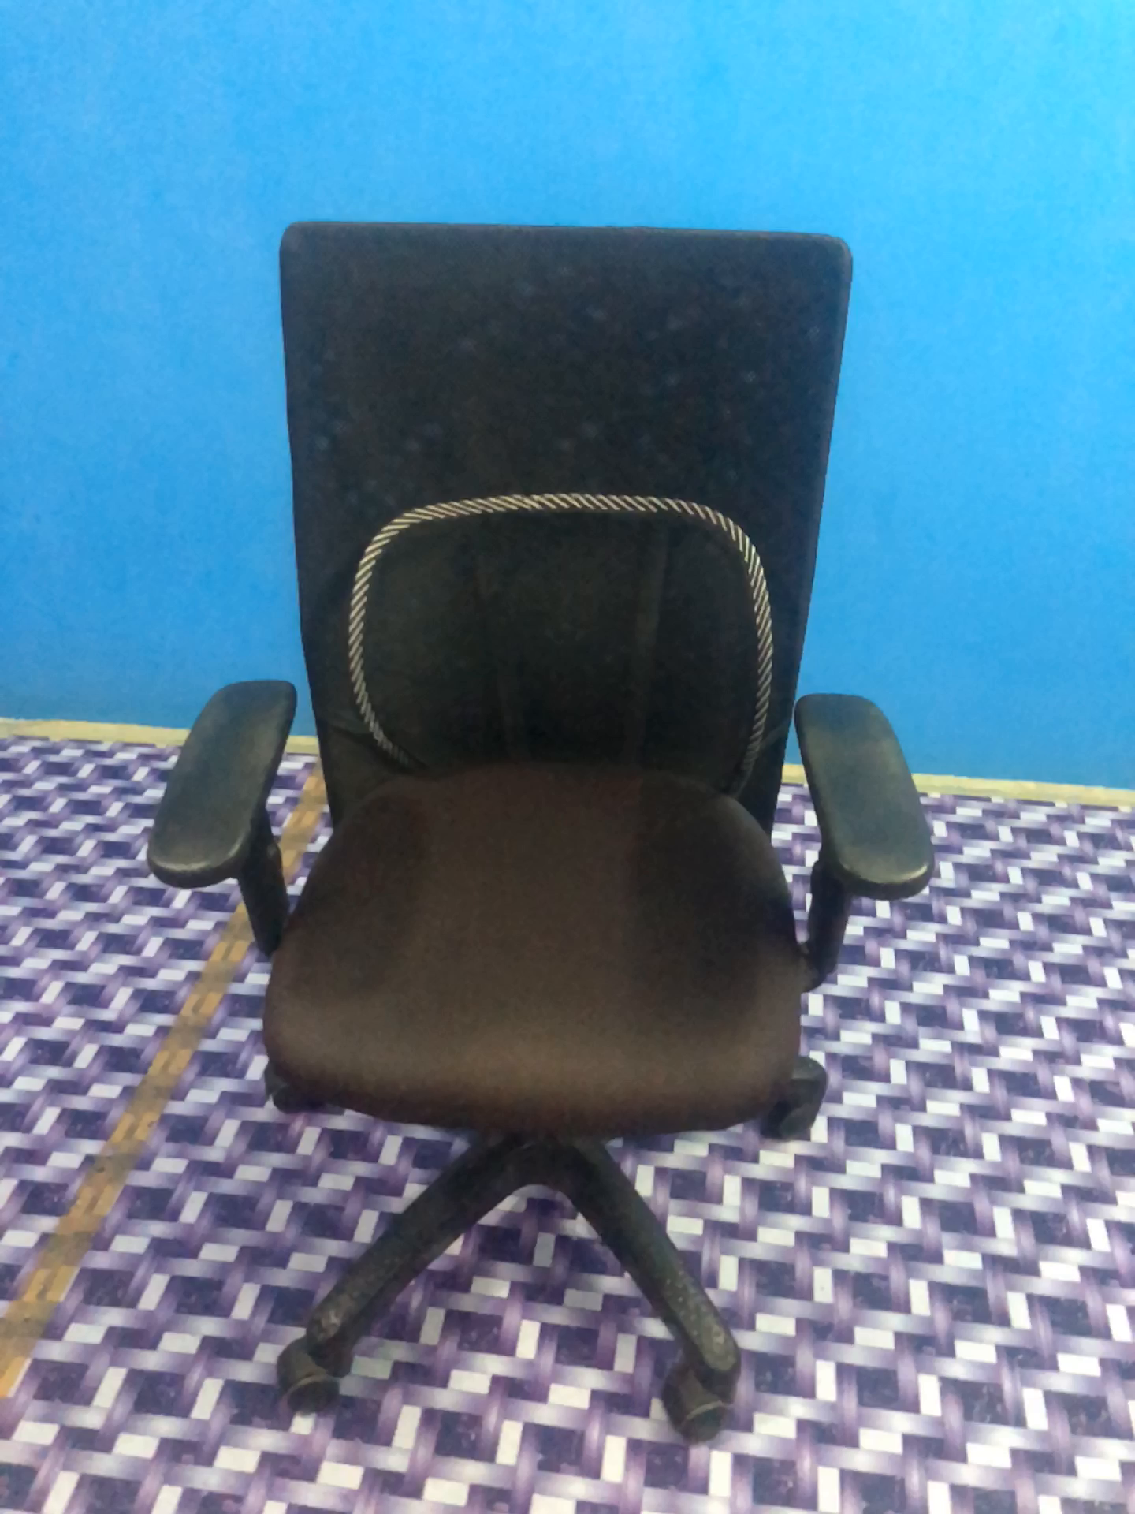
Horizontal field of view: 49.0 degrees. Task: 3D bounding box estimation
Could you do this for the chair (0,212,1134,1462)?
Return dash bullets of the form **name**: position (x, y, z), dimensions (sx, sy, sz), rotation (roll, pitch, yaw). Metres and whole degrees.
- **chair**: position (-0.031, 0.049, 1.120), dimensions (0.660, 0.885, 0.674), rotation (1, 33, 1)
